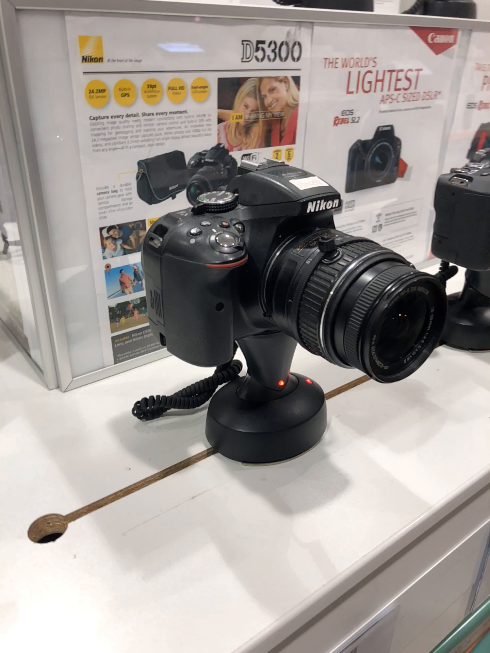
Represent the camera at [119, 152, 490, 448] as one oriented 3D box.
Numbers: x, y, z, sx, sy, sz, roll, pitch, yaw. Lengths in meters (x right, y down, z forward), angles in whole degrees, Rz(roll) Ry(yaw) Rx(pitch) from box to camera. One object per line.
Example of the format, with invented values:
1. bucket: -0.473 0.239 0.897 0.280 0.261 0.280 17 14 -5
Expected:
1. camera: 0.028 -0.032 0.293 0.130 0.090 0.140 -20 33 -34
